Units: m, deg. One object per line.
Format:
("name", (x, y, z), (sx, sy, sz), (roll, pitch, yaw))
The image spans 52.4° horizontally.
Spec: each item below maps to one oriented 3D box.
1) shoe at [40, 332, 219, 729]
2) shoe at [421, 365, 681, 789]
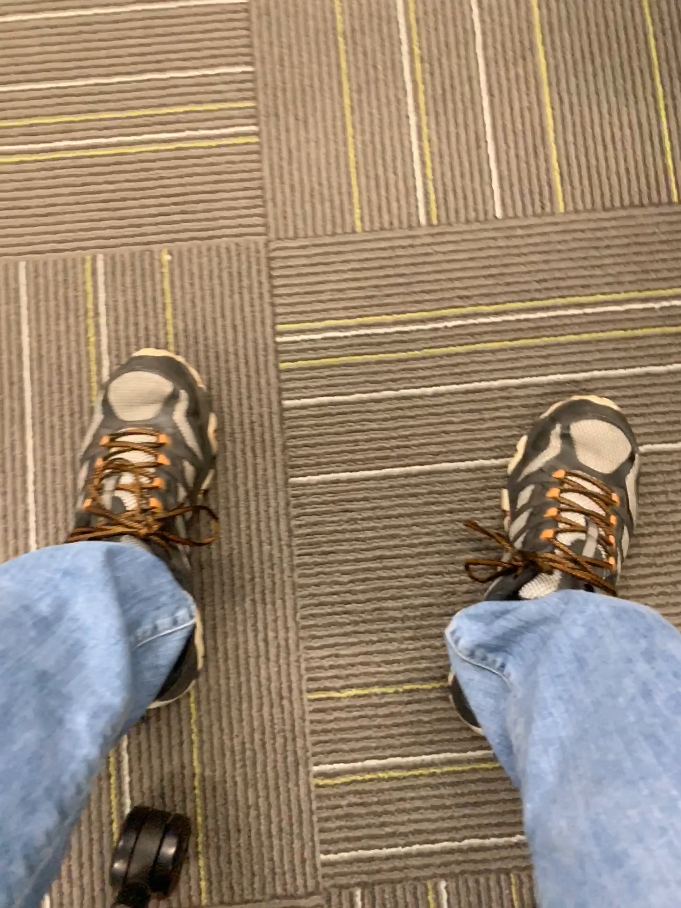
("shoe", (-0.180, 0.063, 0.617), (0.125, 0.095, 0.323), (-1, 84, 0))
("shoe", (0.187, 0.100, 0.616), (0.122, 0.095, 0.322), (19, 85, 2))
